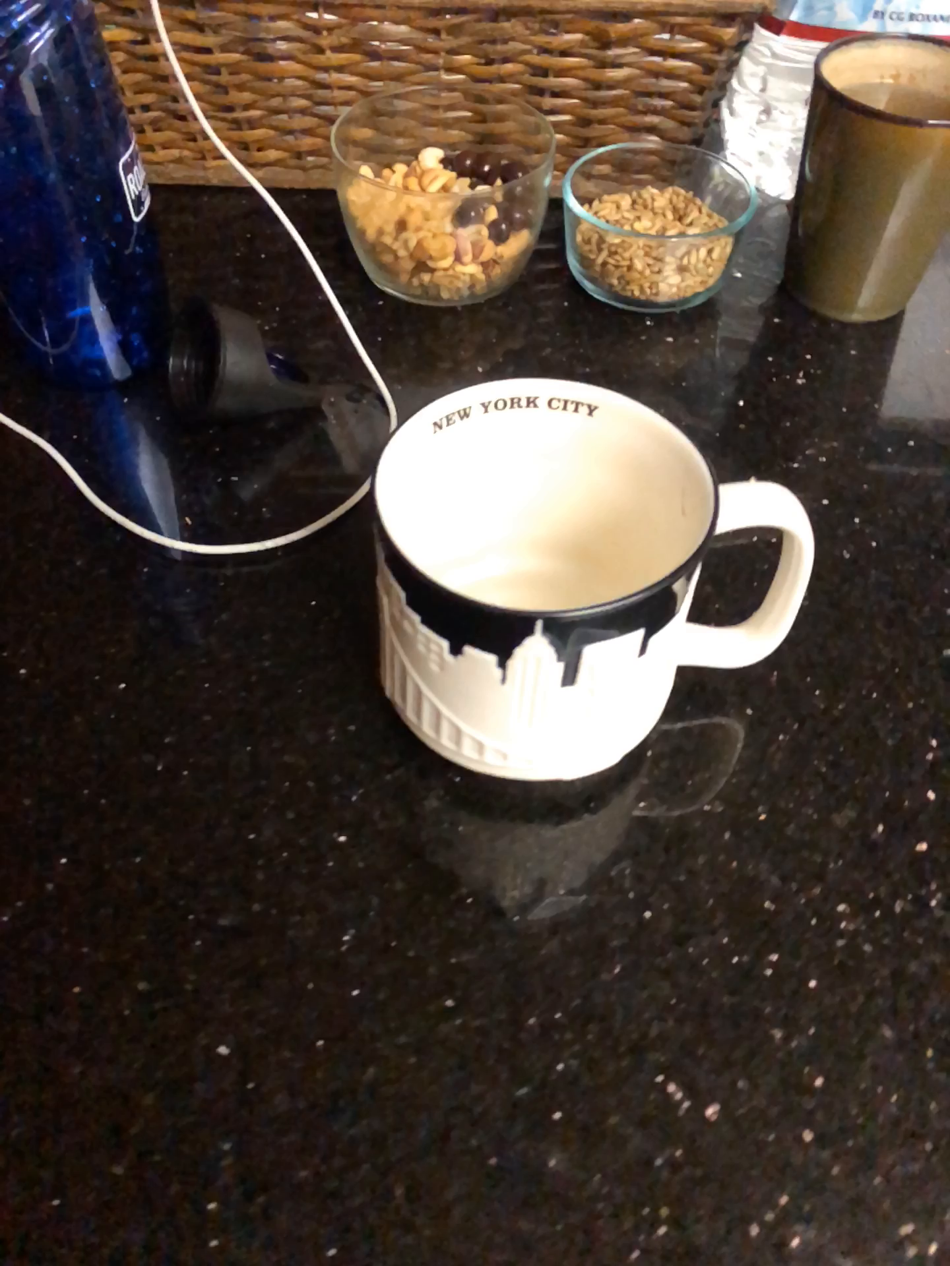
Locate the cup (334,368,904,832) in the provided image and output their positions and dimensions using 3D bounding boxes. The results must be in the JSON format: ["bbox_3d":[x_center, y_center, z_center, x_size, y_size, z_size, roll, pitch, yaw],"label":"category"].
[{"bbox_3d":[0.039,-0.012,0.348,0.150,0.090,0.121,2,50,0],"label":"cup"}]
